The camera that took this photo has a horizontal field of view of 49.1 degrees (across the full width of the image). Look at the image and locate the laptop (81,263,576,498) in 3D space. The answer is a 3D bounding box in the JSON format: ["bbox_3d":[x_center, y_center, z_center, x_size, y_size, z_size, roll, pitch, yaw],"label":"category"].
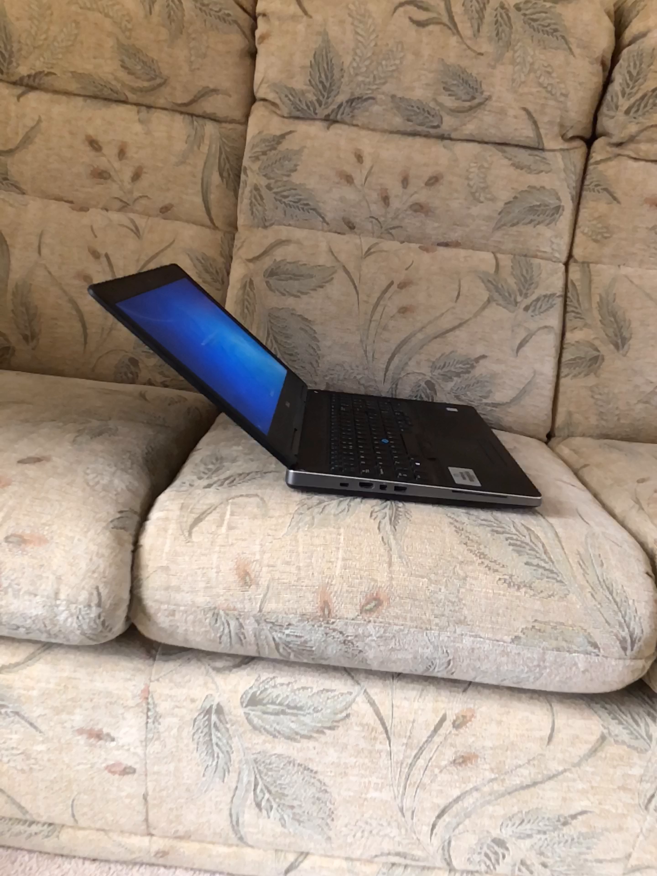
[{"bbox_3d":[-0.006,-0.091,0.855,0.451,0.157,0.357,6,19,-1],"label":"laptop"}]
